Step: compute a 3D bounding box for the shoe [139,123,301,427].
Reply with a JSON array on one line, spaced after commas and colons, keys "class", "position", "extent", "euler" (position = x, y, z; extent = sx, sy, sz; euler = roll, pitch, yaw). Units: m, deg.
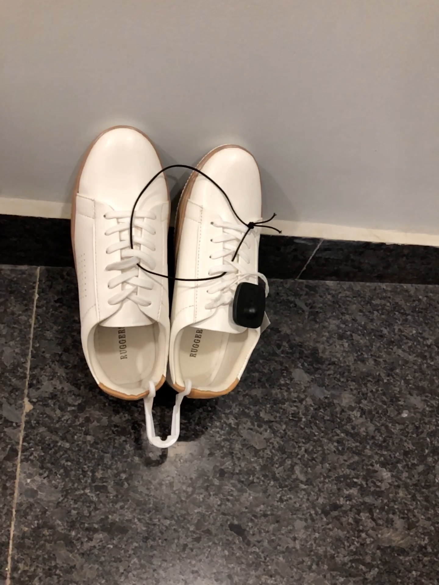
[{"class": "shoe", "position": [-0.006, -0.014, 0.501], "extent": [0.107, 0.104, 0.273], "euler": [6, 94, -20]}]

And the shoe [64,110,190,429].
[{"class": "shoe", "position": [-0.092, -0.019, 0.471], "extent": [0.101, 0.087, 0.272], "euler": [2, 93, -16]}]
